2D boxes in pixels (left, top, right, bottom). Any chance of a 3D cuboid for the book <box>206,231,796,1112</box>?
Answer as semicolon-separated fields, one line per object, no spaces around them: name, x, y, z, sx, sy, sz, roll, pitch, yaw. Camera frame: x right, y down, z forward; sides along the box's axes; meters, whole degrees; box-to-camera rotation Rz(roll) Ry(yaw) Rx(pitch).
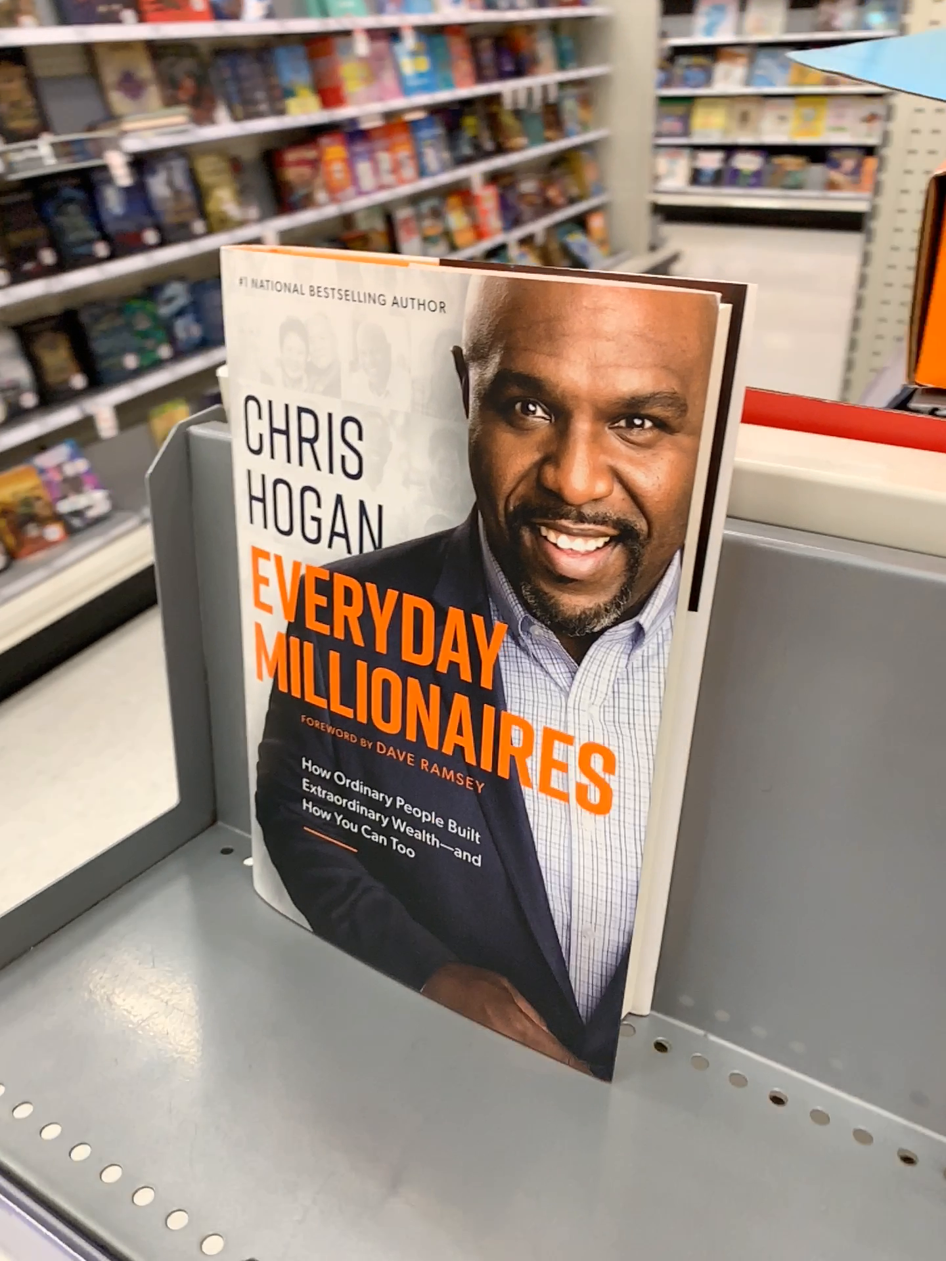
book;-0.006;0.010;0.305;0.160;0.241;0.037;18;28;30
